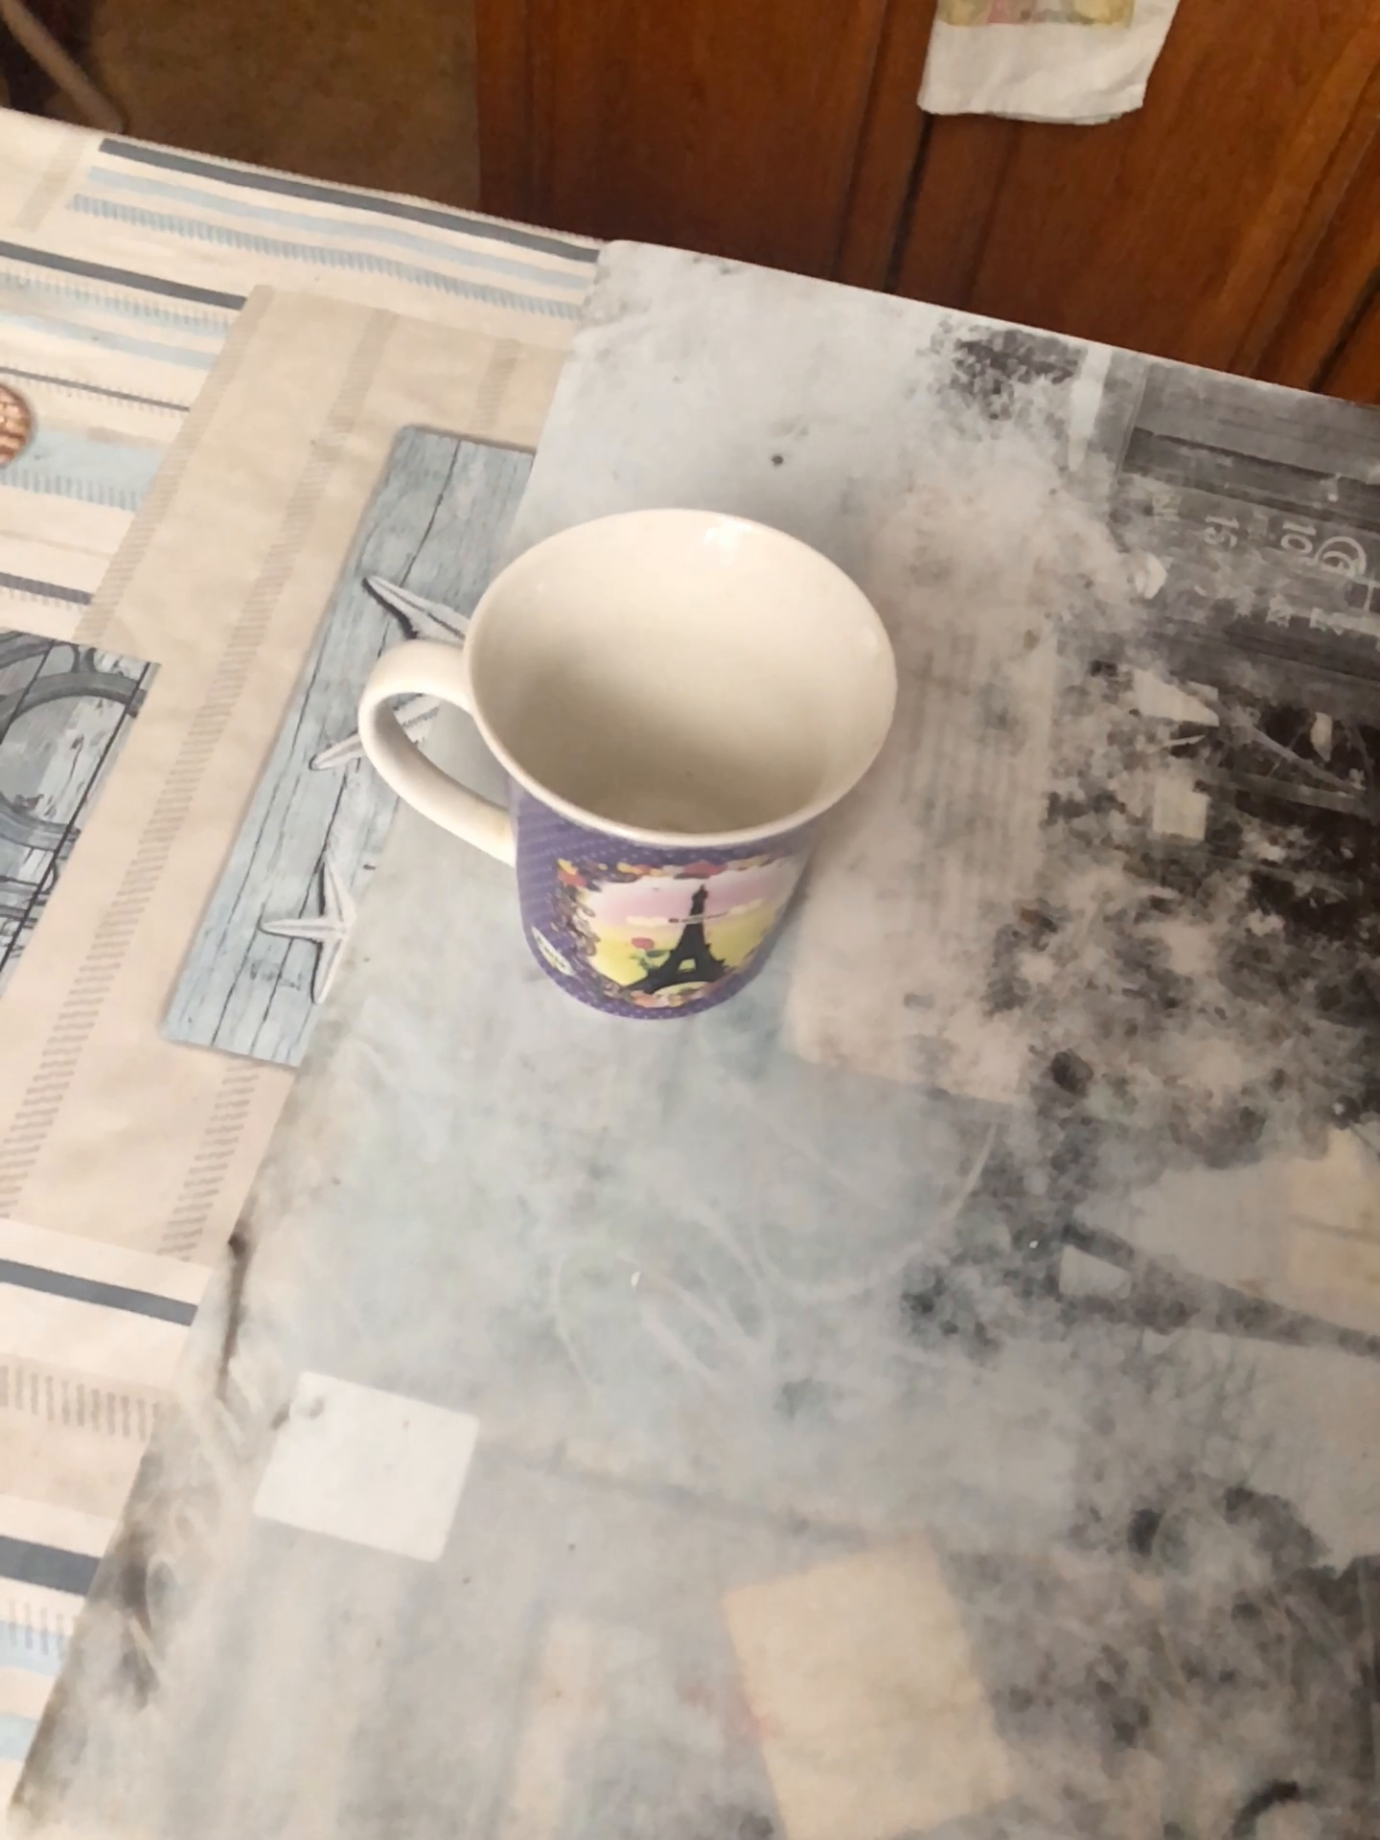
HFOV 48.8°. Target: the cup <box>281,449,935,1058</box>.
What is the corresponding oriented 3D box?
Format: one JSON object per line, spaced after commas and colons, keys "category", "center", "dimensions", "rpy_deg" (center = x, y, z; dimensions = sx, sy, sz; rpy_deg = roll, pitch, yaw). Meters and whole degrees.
{"category": "cup", "center": [-0.016, -0.034, 0.338], "dimensions": [0.120, 0.085, 0.091], "rpy_deg": [6, 60, -3]}
